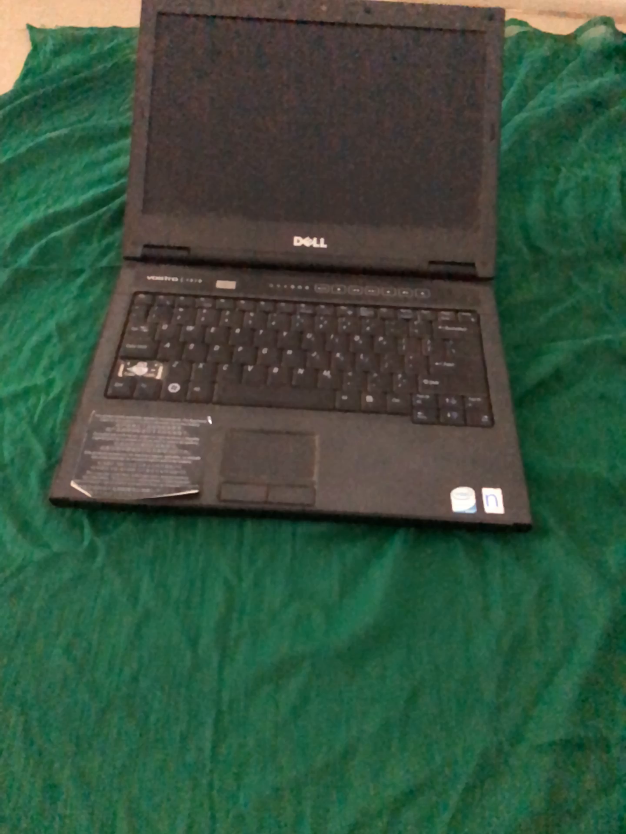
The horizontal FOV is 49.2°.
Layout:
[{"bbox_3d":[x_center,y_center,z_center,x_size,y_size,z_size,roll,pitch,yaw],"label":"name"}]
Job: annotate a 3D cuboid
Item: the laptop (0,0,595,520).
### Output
[{"bbox_3d":[-0.001,-0.162,0.517,0.313,0.126,0.440,3,57,2],"label":"laptop"}]
